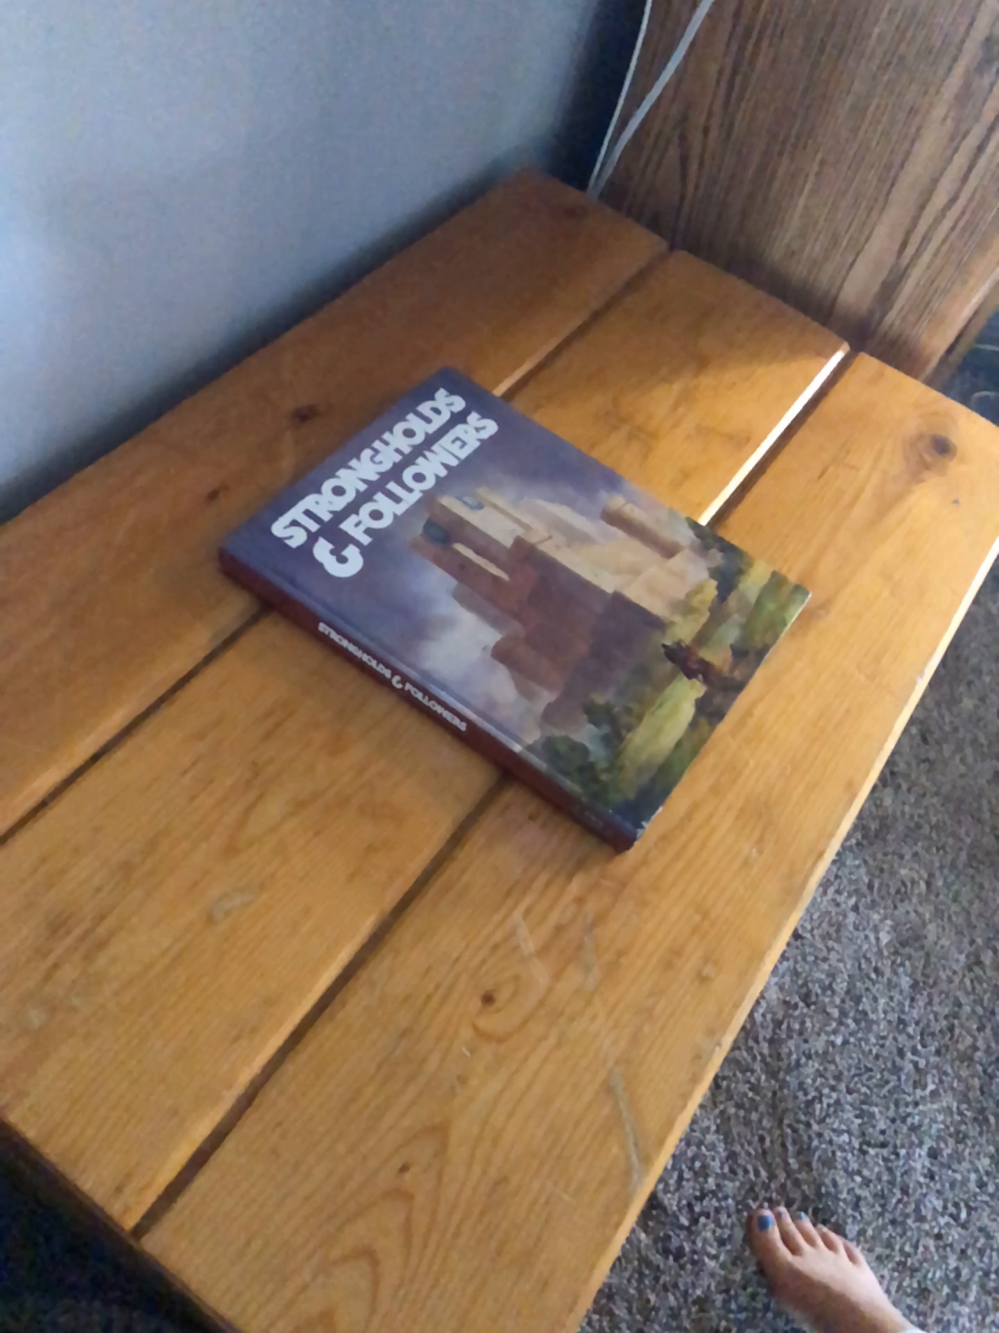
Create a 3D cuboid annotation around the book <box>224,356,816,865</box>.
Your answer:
[{"bbox_3d":[0.016,-0.049,0.659,0.281,0.042,0.213,35,56,12],"label":"book"}]
